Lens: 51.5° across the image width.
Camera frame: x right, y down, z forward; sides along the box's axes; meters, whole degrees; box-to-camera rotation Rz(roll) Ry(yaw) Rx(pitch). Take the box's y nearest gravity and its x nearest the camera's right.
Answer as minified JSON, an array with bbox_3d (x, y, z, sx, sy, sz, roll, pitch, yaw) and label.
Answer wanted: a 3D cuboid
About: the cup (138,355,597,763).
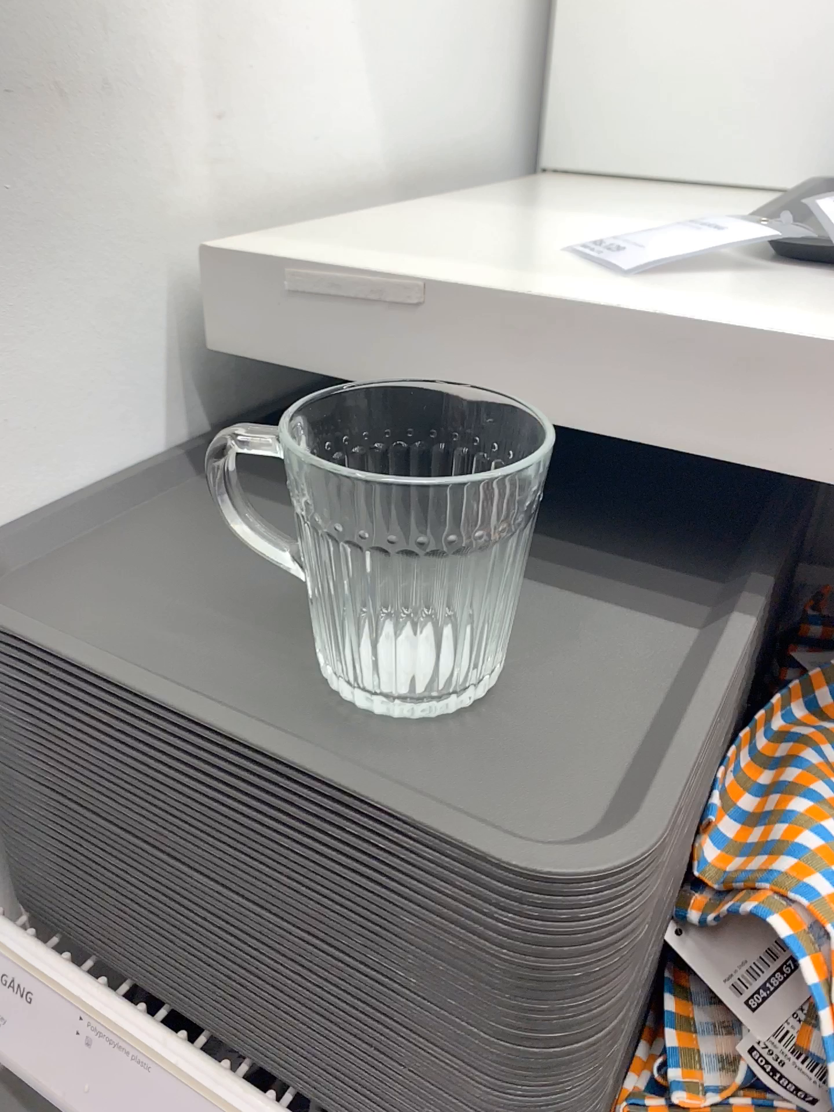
[{"bbox_3d":[-0.011,-0.006,0.270,0.110,0.080,0.080,12,30,18],"label":"cup"}]
